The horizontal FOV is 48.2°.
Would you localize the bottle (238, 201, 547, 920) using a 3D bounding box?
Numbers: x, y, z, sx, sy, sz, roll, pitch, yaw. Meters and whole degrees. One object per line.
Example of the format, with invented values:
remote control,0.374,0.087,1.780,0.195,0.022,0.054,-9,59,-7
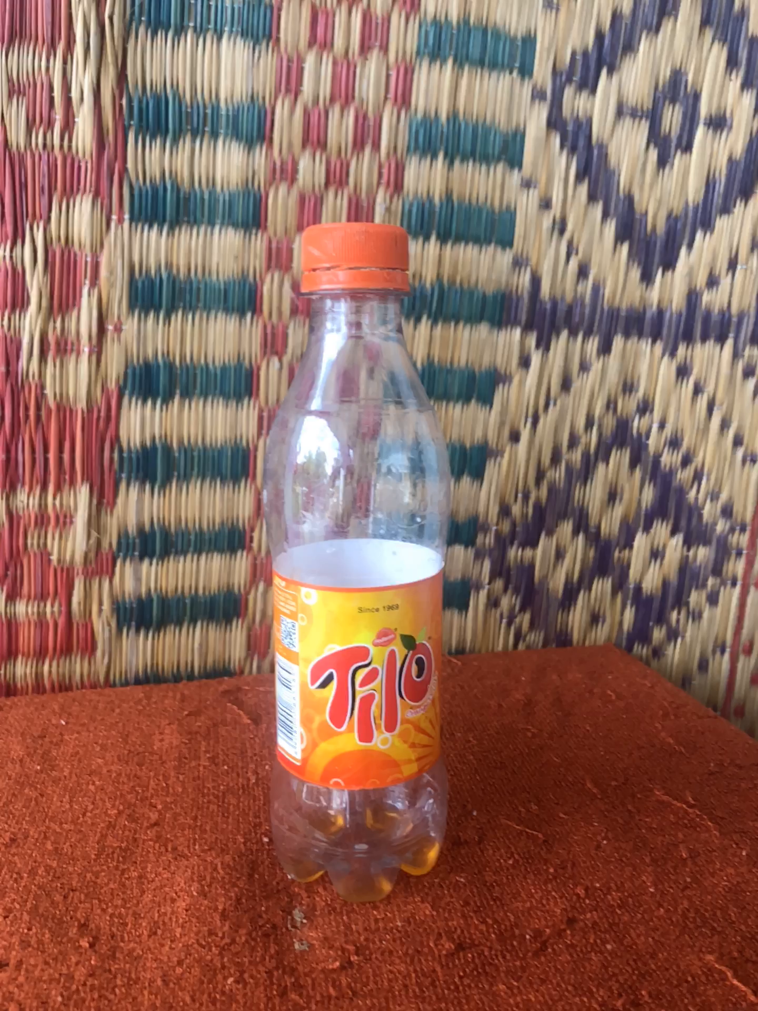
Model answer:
bottle,-0.003,0.017,0.244,0.070,0.189,0.050,-1,14,-13
